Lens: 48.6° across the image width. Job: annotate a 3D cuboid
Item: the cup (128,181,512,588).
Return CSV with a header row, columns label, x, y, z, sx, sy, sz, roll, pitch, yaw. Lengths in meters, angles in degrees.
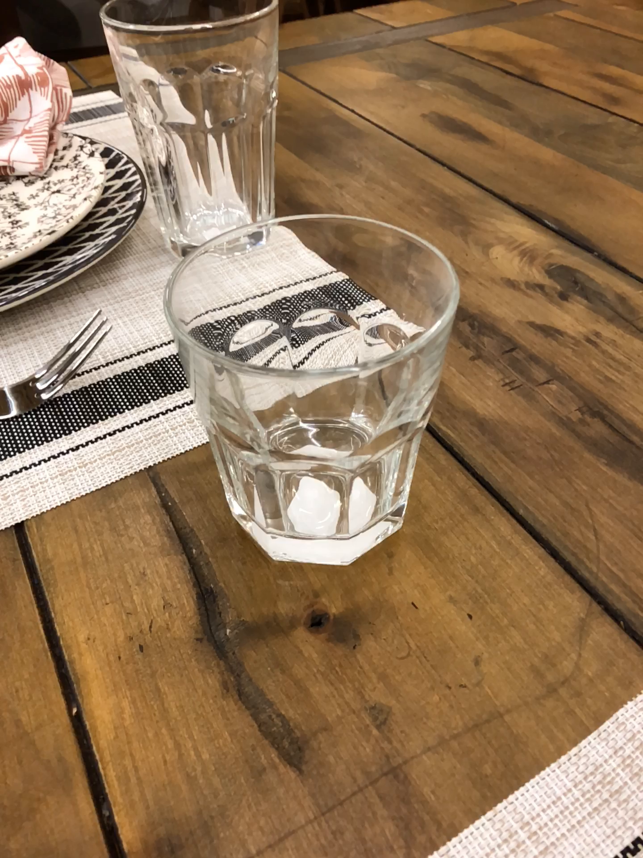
label,x,y,z,sx,sy,sz,roll,pitch,yaw
cup,-0.005,-0.018,0.233,0.090,0.081,0.087,-1,42,1
